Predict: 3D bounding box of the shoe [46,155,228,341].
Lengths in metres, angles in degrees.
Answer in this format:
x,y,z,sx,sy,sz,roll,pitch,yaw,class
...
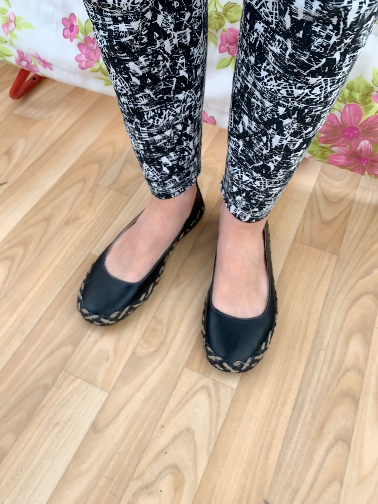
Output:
x,y,z,sx,sy,sz,roll,pitch,yaw,class
-0.059,-0.018,0.552,0.100,0.070,0.265,29,60,20,shoe

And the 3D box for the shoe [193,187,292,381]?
x,y,z,sx,sy,sz,roll,pitch,yaw,class
0.076,0.029,0.518,0.100,0.060,0.251,8,55,7,shoe
